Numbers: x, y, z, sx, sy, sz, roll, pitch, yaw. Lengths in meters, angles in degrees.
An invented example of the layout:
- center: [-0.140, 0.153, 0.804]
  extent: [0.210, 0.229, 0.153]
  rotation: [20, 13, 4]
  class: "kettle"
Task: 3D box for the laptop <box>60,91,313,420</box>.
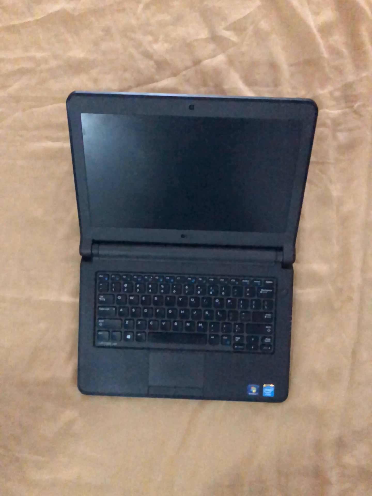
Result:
- center: [-0.002, 0.013, 0.566]
  extent: [0.308, 0.092, 0.409]
  rotation: [2, 93, 0]
  class: "laptop"
